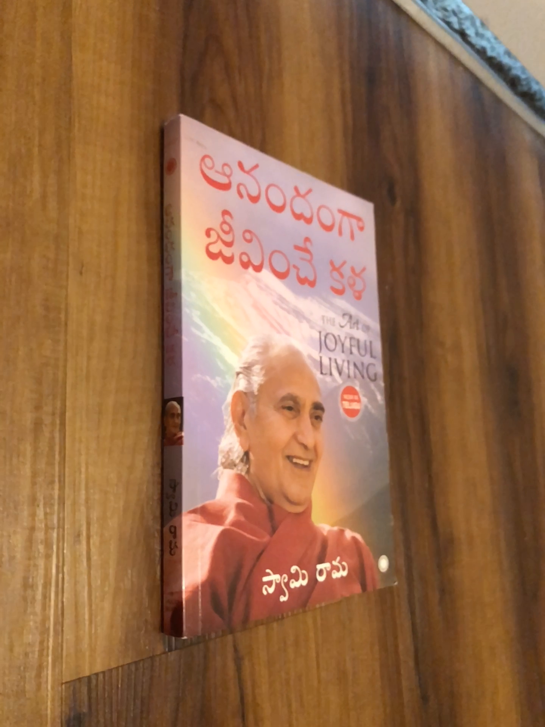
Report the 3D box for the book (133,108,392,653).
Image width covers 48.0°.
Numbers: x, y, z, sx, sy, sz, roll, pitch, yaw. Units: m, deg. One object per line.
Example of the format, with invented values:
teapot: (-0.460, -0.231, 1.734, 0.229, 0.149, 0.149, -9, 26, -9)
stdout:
book: (0.004, 0.008, 0.301, 0.145, 0.020, 0.219, 8, 78, -43)
